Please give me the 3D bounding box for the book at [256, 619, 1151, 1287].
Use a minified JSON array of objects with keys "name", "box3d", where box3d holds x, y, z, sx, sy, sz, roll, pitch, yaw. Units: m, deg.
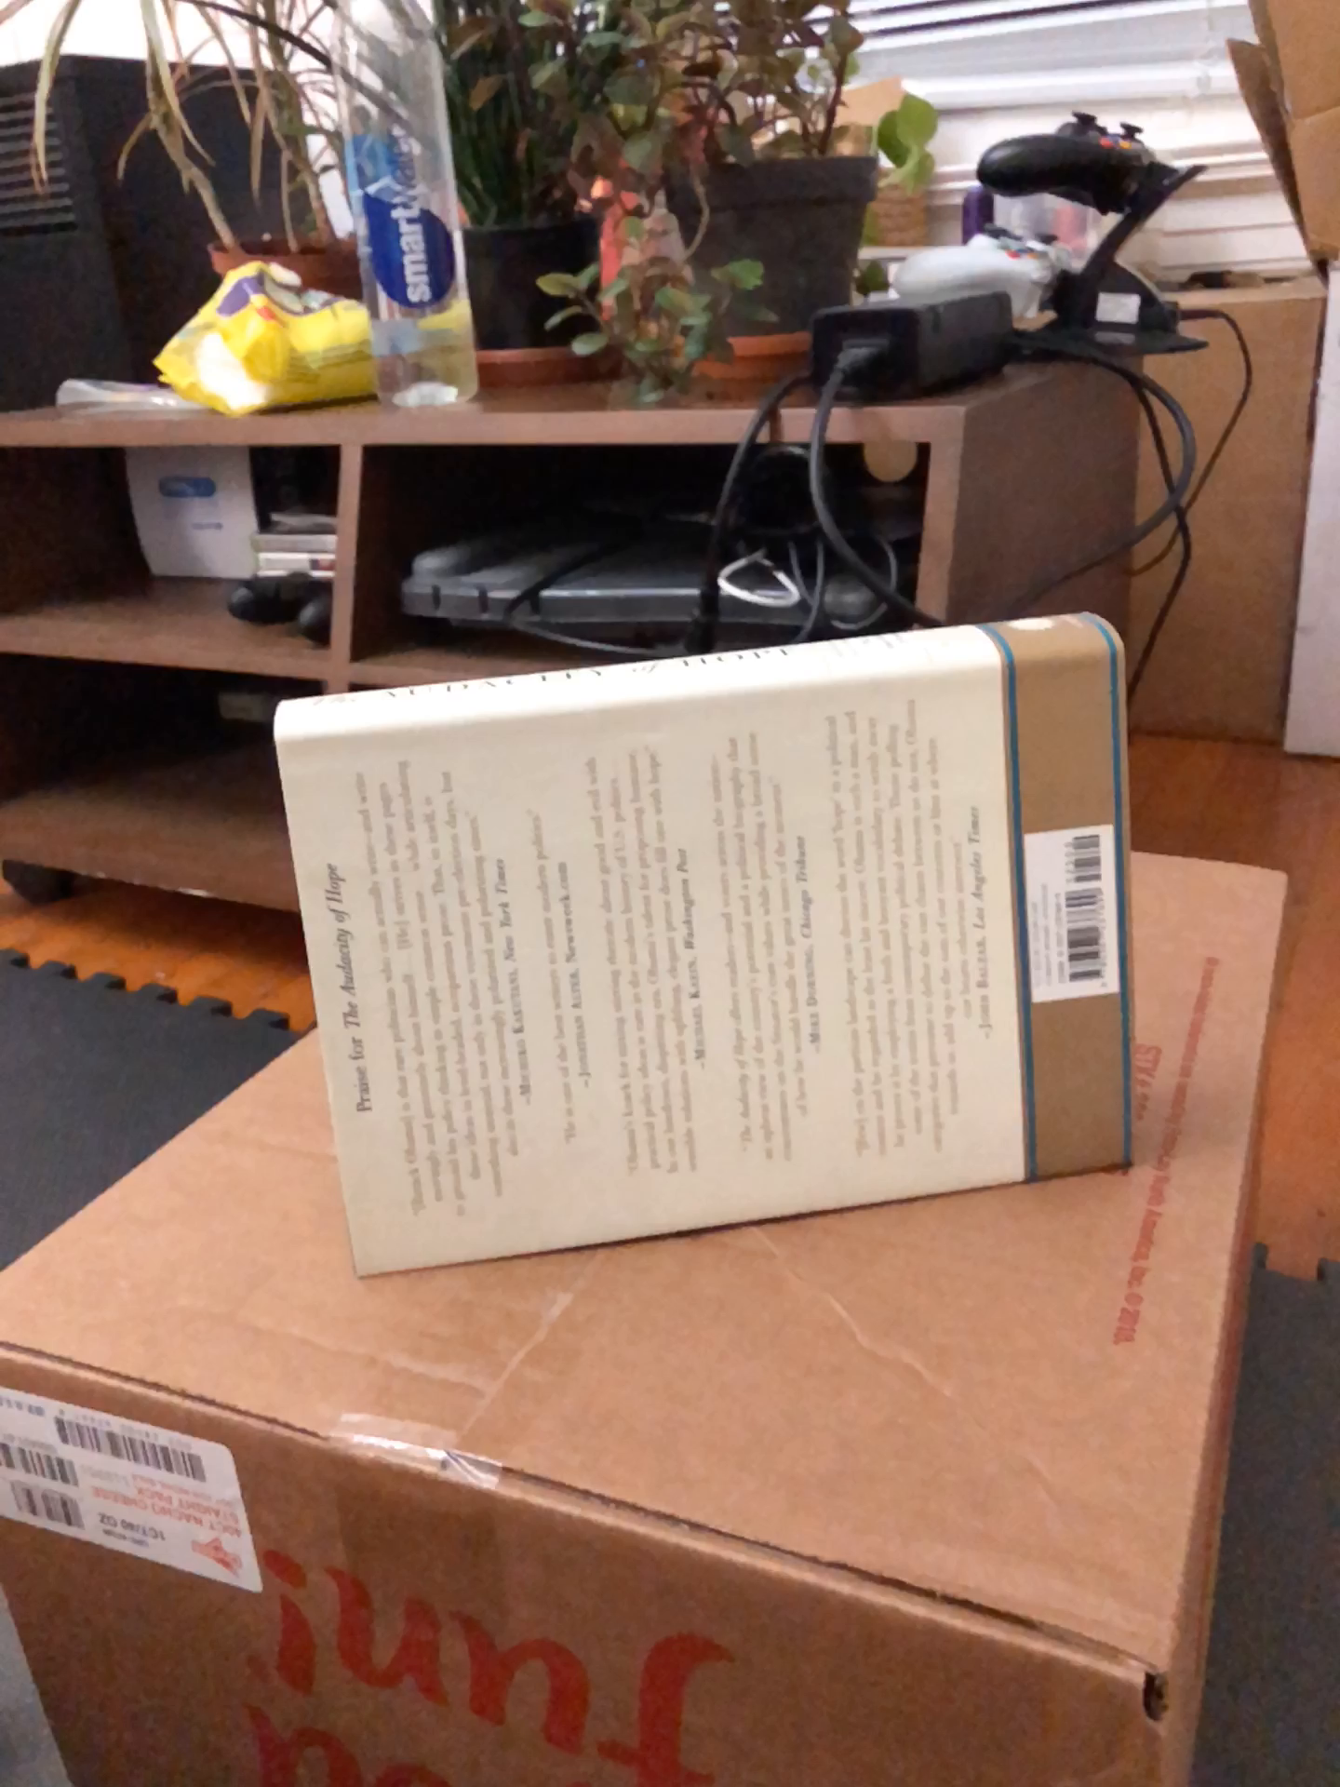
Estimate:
[{"name":"book","box3d":[0.015,0.012,0.456,0.250,0.170,0.060,-6,12,-7]}]
